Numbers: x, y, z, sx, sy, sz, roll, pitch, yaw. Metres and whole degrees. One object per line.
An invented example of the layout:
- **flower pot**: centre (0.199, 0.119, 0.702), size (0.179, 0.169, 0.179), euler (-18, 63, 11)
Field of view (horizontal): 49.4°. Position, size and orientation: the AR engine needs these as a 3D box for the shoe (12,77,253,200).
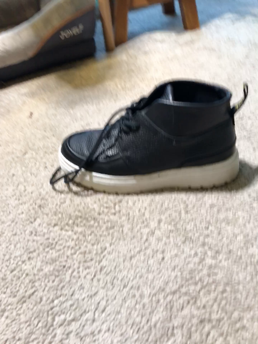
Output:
- **shoe**: centre (0.008, -0.044, 0.376), size (0.261, 0.111, 0.107), euler (1, 43, 11)
